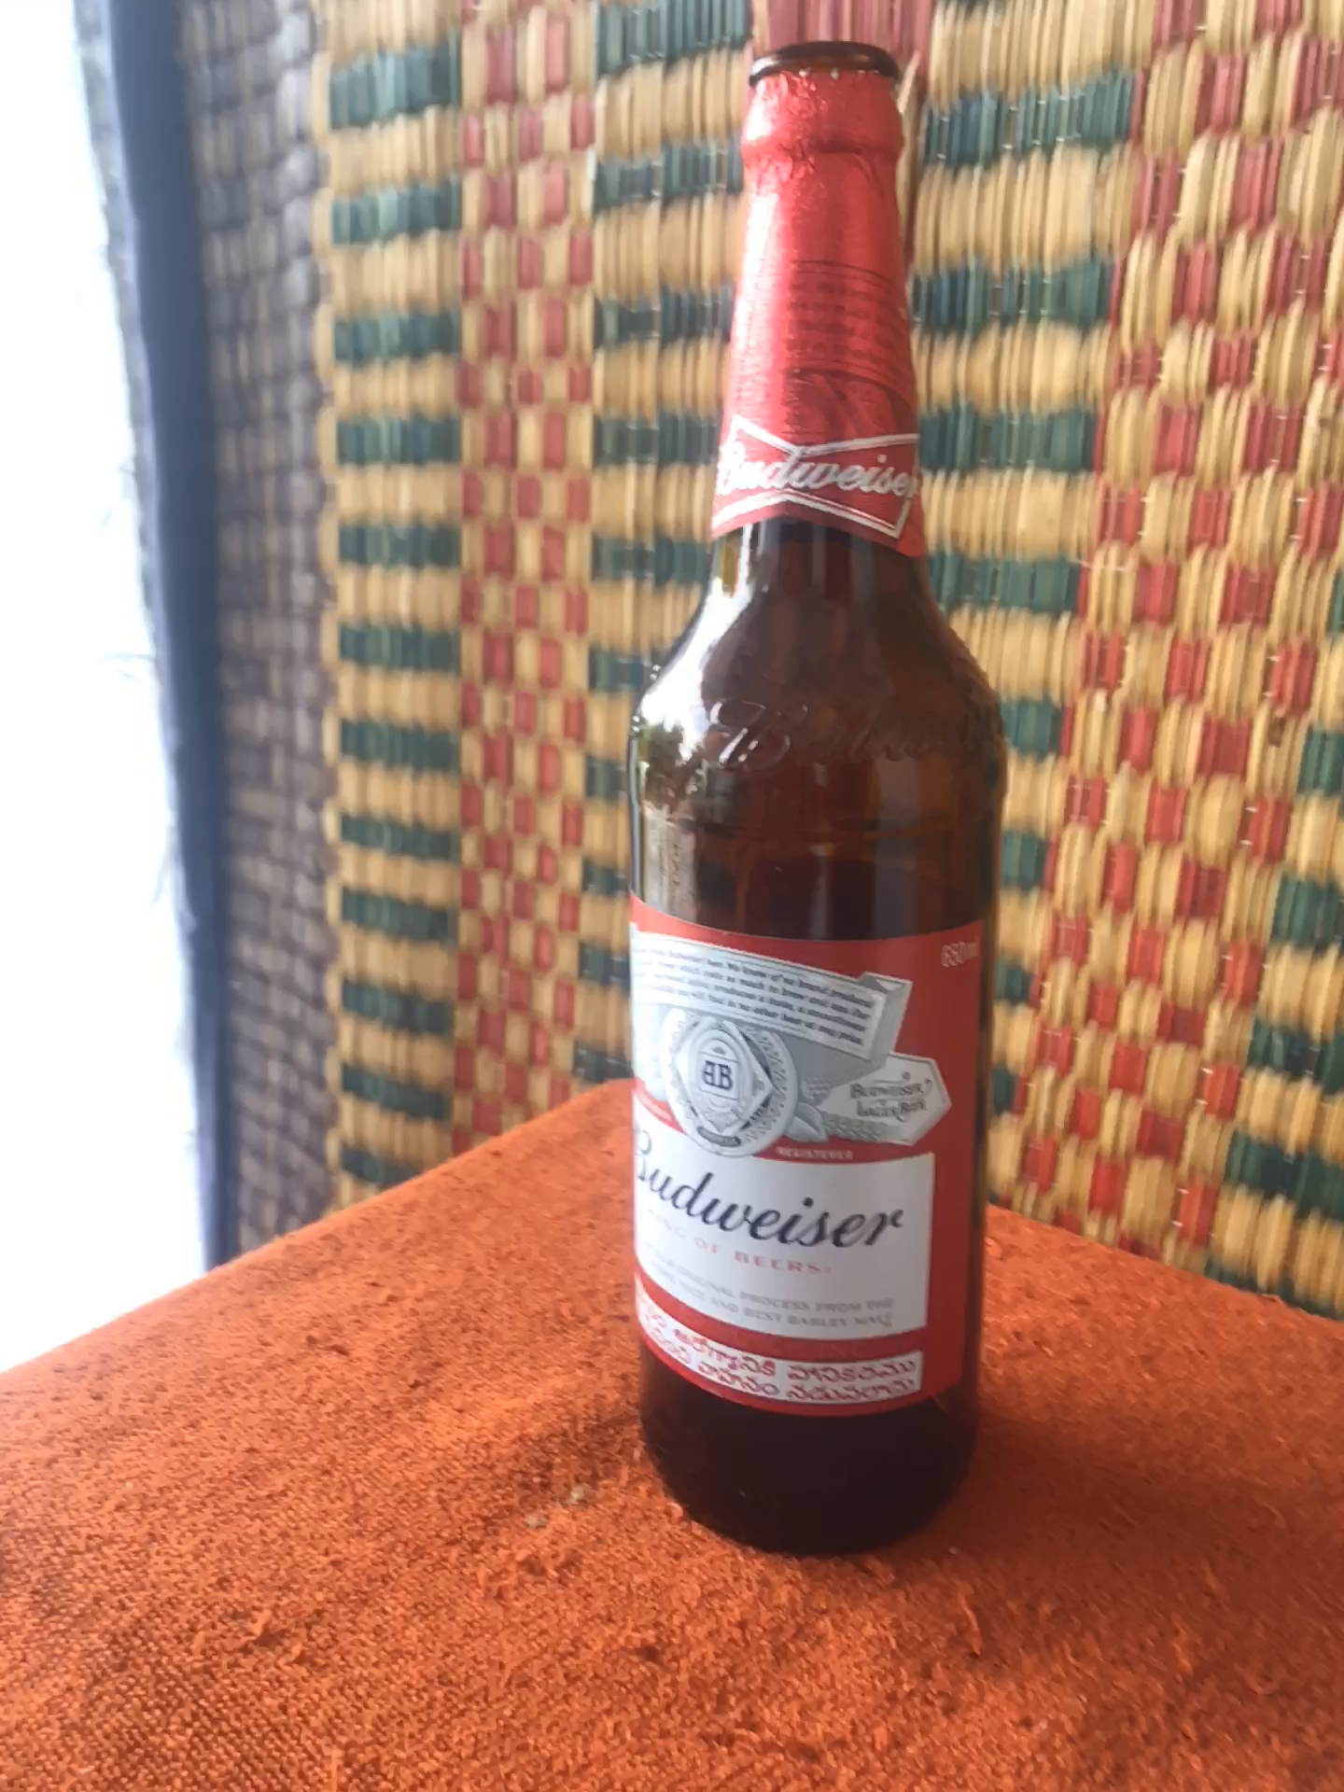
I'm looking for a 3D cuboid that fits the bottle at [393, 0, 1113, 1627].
[{"bbox_3d":[0.015,-0.012,0.277,0.090,0.259,0.070,13,22,37],"label":"bottle"}]
